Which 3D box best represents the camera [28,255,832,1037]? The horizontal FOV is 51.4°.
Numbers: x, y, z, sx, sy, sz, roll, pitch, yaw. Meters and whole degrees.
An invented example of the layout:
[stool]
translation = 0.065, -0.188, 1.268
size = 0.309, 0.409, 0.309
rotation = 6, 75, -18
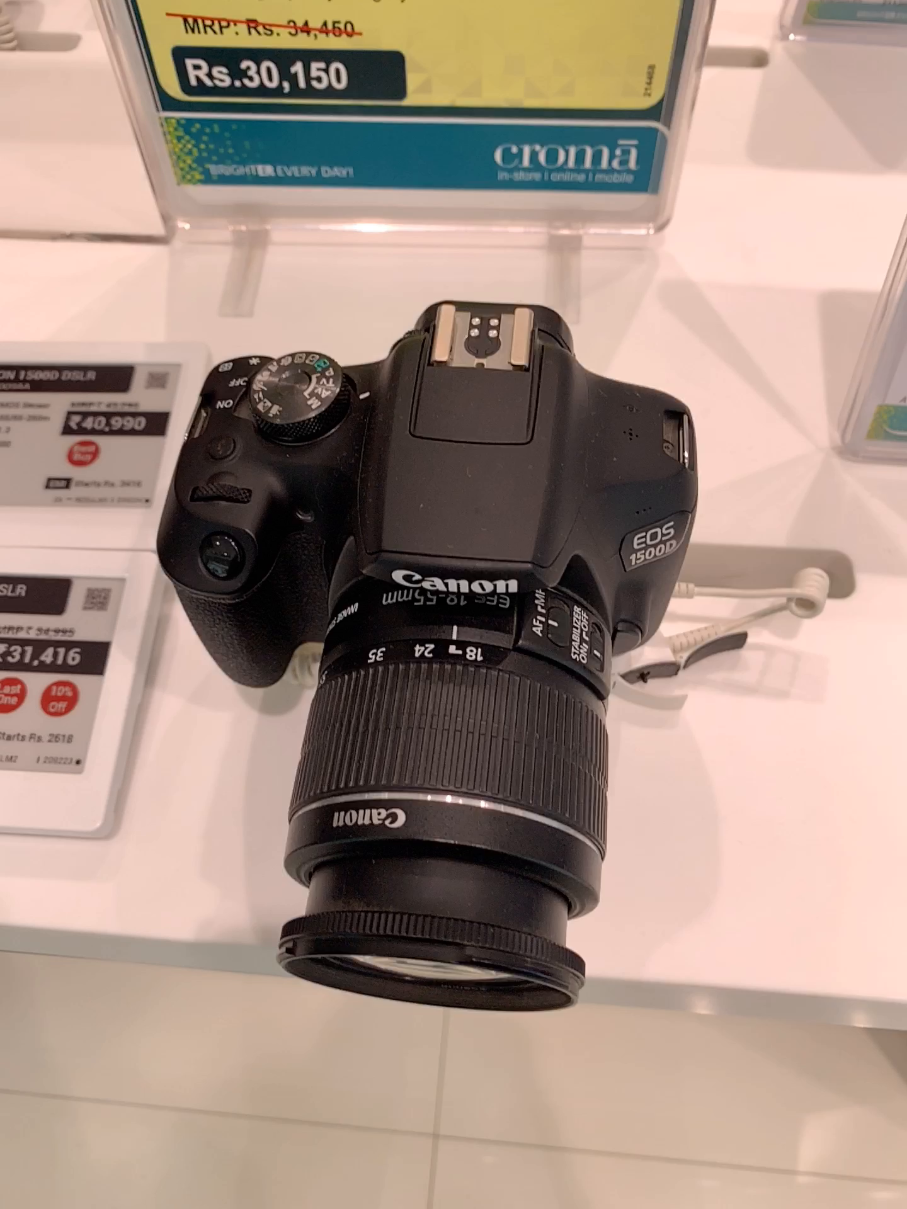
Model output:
[camera]
translation = 0.003, 0.009, 0.200
size = 0.110, 0.090, 0.130
rotation = 5, 58, 4
